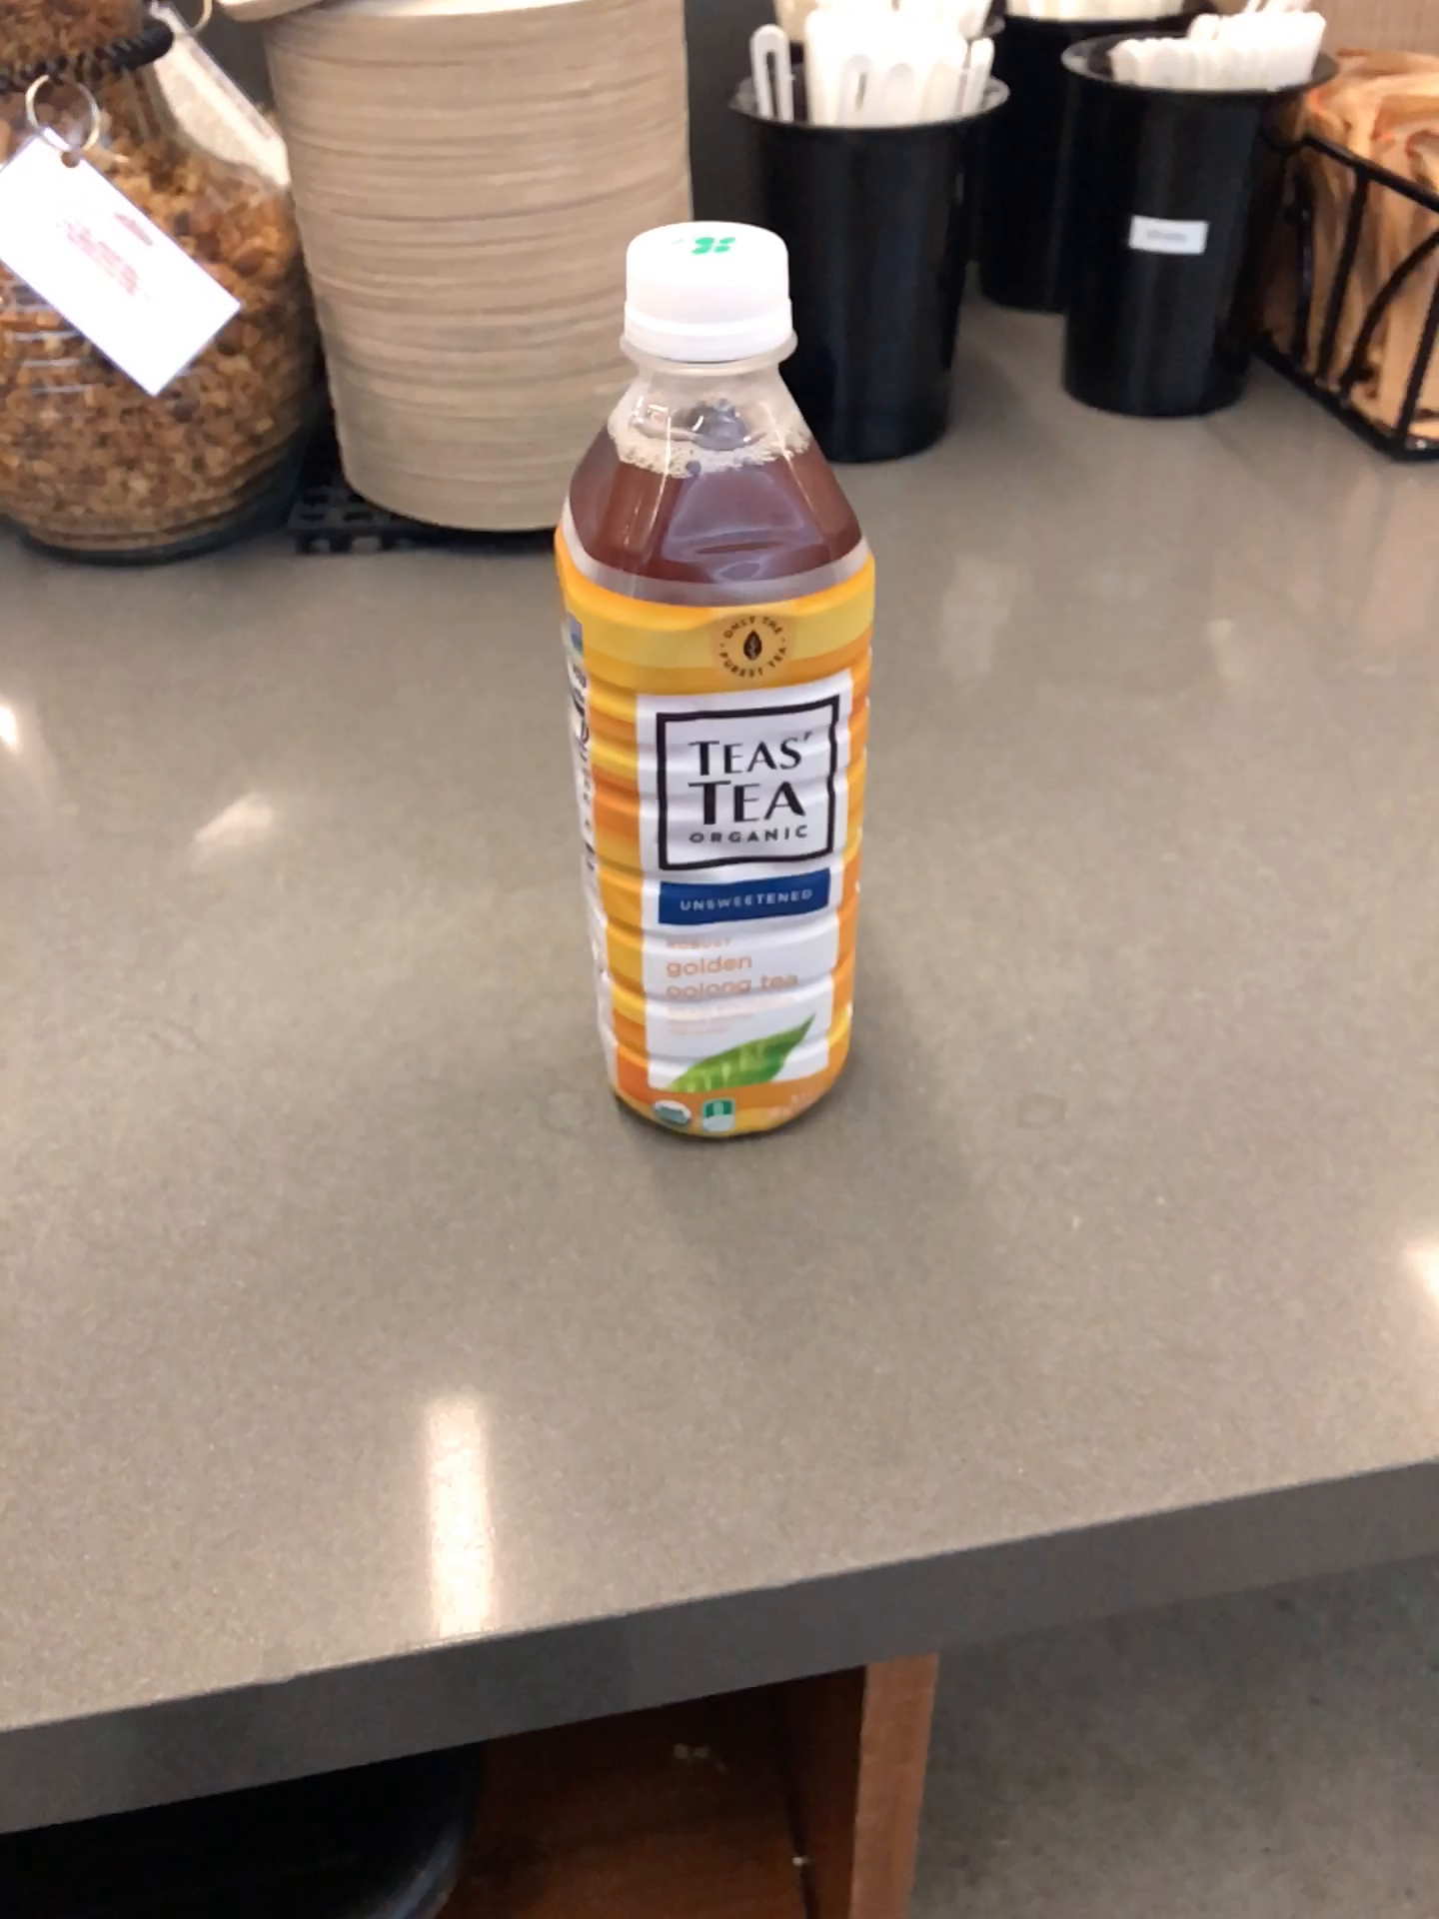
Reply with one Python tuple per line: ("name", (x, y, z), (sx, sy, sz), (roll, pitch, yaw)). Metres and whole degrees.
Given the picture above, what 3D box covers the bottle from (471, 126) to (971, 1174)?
("bottle", (-0.001, -0.055, 0.339), (0.070, 0.199, 0.070), (-1, 40, 1))
